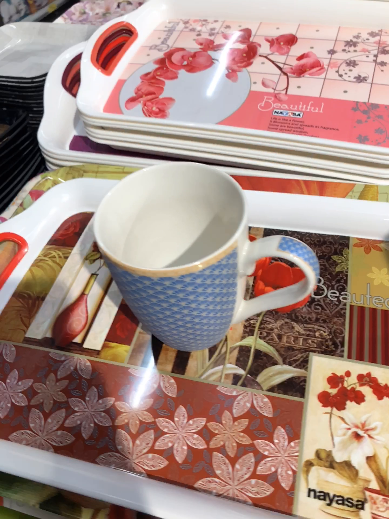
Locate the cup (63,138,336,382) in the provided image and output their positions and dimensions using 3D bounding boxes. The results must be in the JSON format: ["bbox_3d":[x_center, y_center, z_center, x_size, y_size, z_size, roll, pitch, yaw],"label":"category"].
[{"bbox_3d":[0.011,0.000,0.249,0.120,0.099,0.081,7,49,12],"label":"cup"}]
